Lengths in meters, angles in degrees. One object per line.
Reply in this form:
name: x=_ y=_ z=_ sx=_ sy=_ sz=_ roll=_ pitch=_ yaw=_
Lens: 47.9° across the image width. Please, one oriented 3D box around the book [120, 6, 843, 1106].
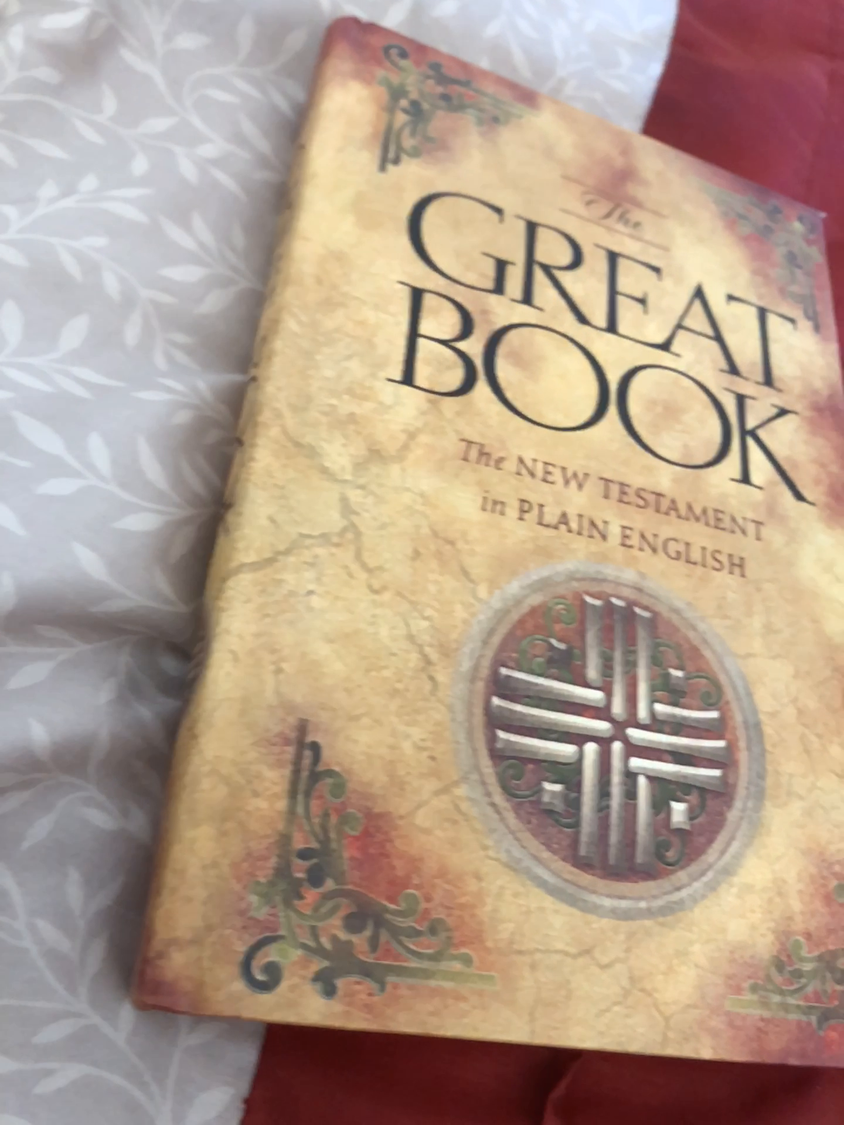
book: x=0.038 y=-0.007 z=0.220 sx=0.161 sy=0.040 sz=0.221 roll=13 pitch=65 yaw=-16
